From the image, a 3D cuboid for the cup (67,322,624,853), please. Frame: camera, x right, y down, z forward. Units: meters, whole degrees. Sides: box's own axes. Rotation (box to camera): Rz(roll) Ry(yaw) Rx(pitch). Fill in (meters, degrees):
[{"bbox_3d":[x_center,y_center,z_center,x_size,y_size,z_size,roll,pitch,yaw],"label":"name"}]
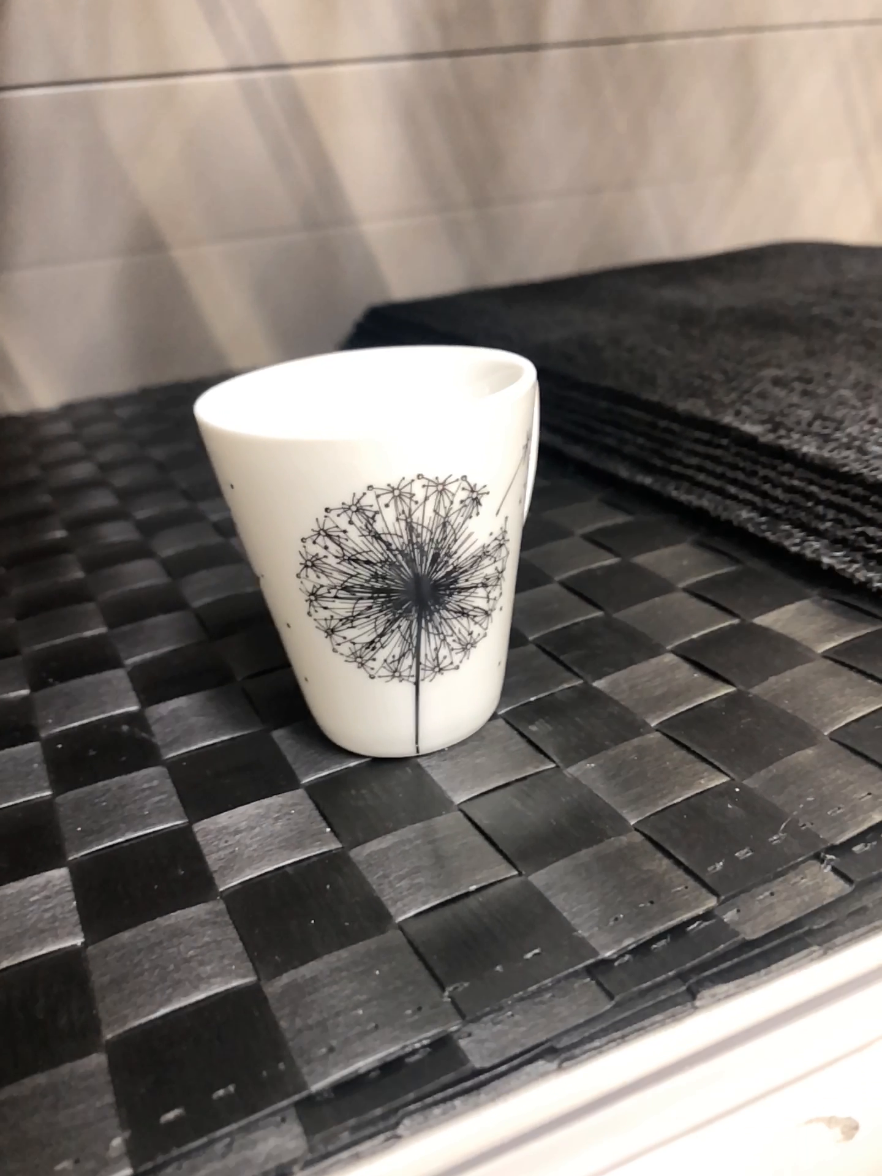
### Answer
[{"bbox_3d":[-0.012,-0.008,0.186,0.056,0.060,0.081,19,33,33],"label":"cup"}]
